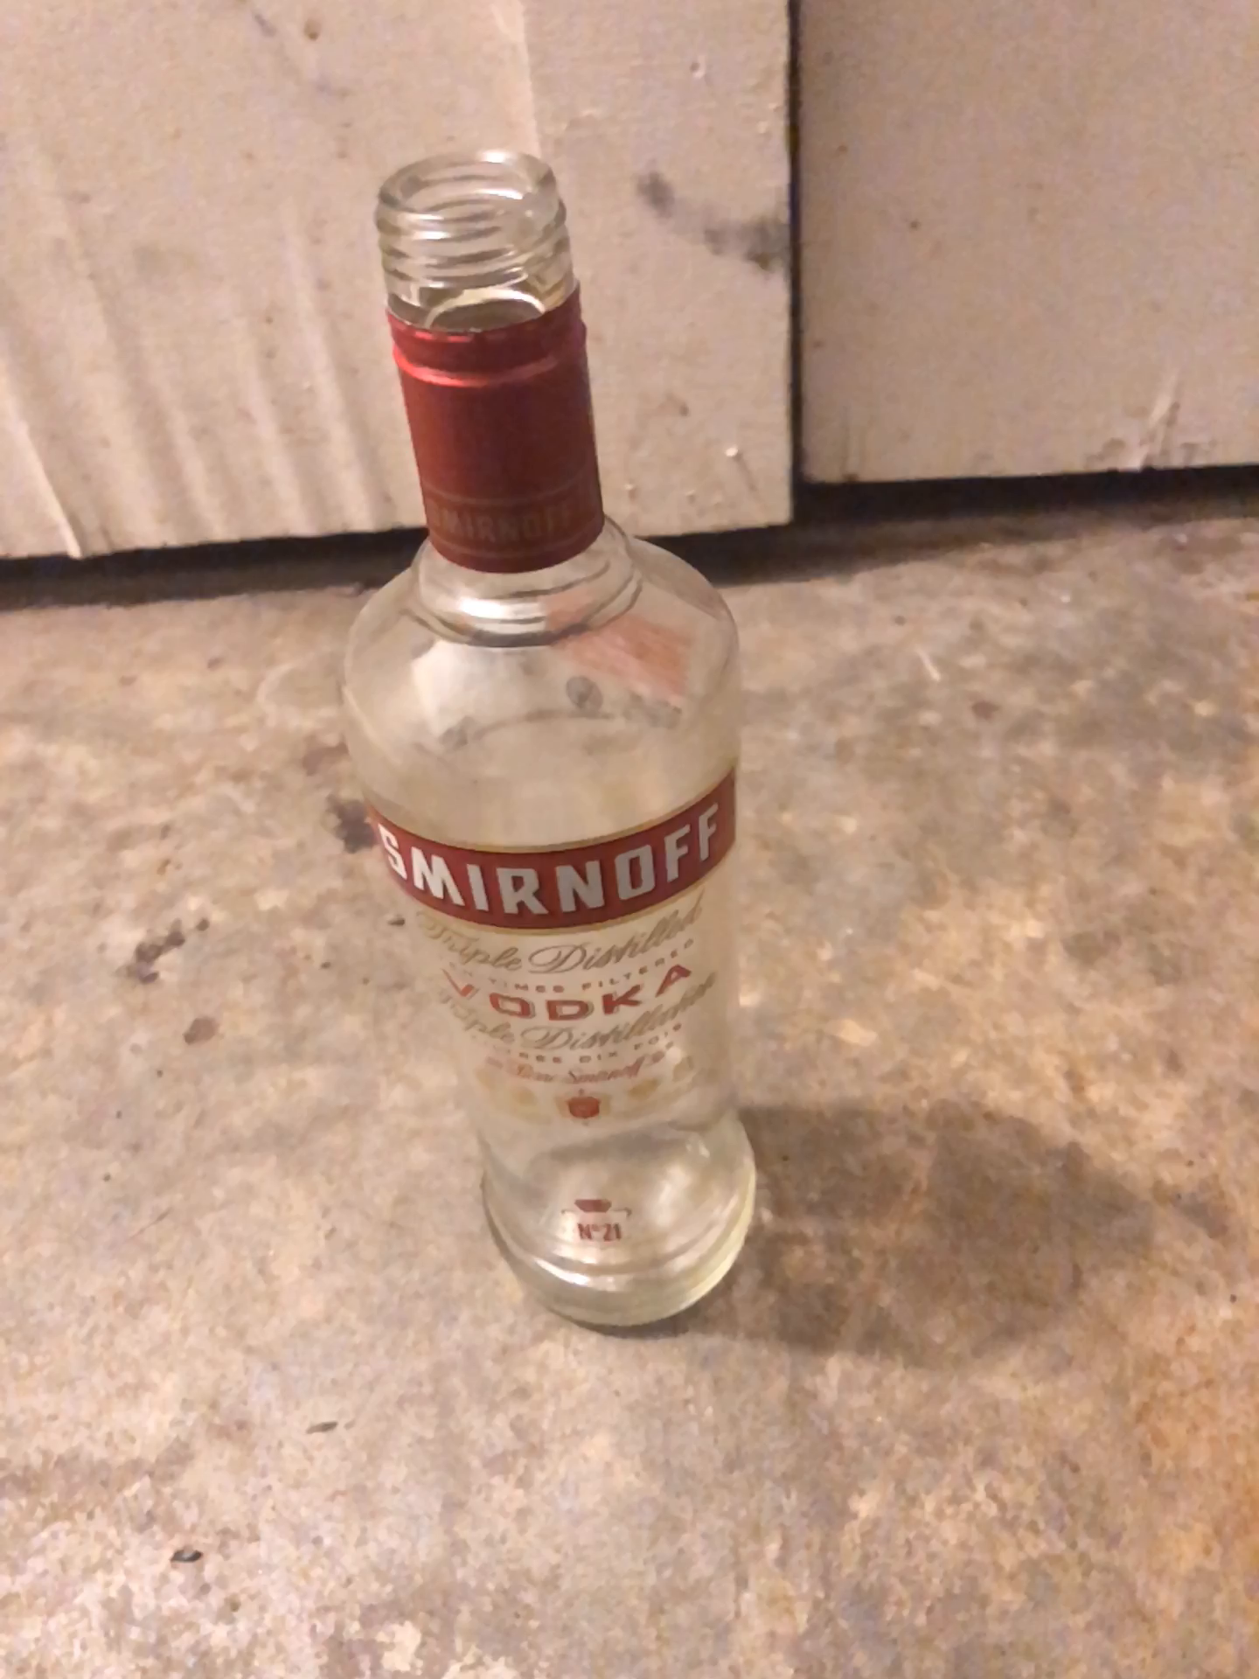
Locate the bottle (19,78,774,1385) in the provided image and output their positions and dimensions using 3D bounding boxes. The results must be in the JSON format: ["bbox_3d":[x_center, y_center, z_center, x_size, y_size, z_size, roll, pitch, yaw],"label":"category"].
[{"bbox_3d":[-0.015,0.012,0.291,0.080,0.288,0.080,-3,47,4],"label":"bottle"}]
